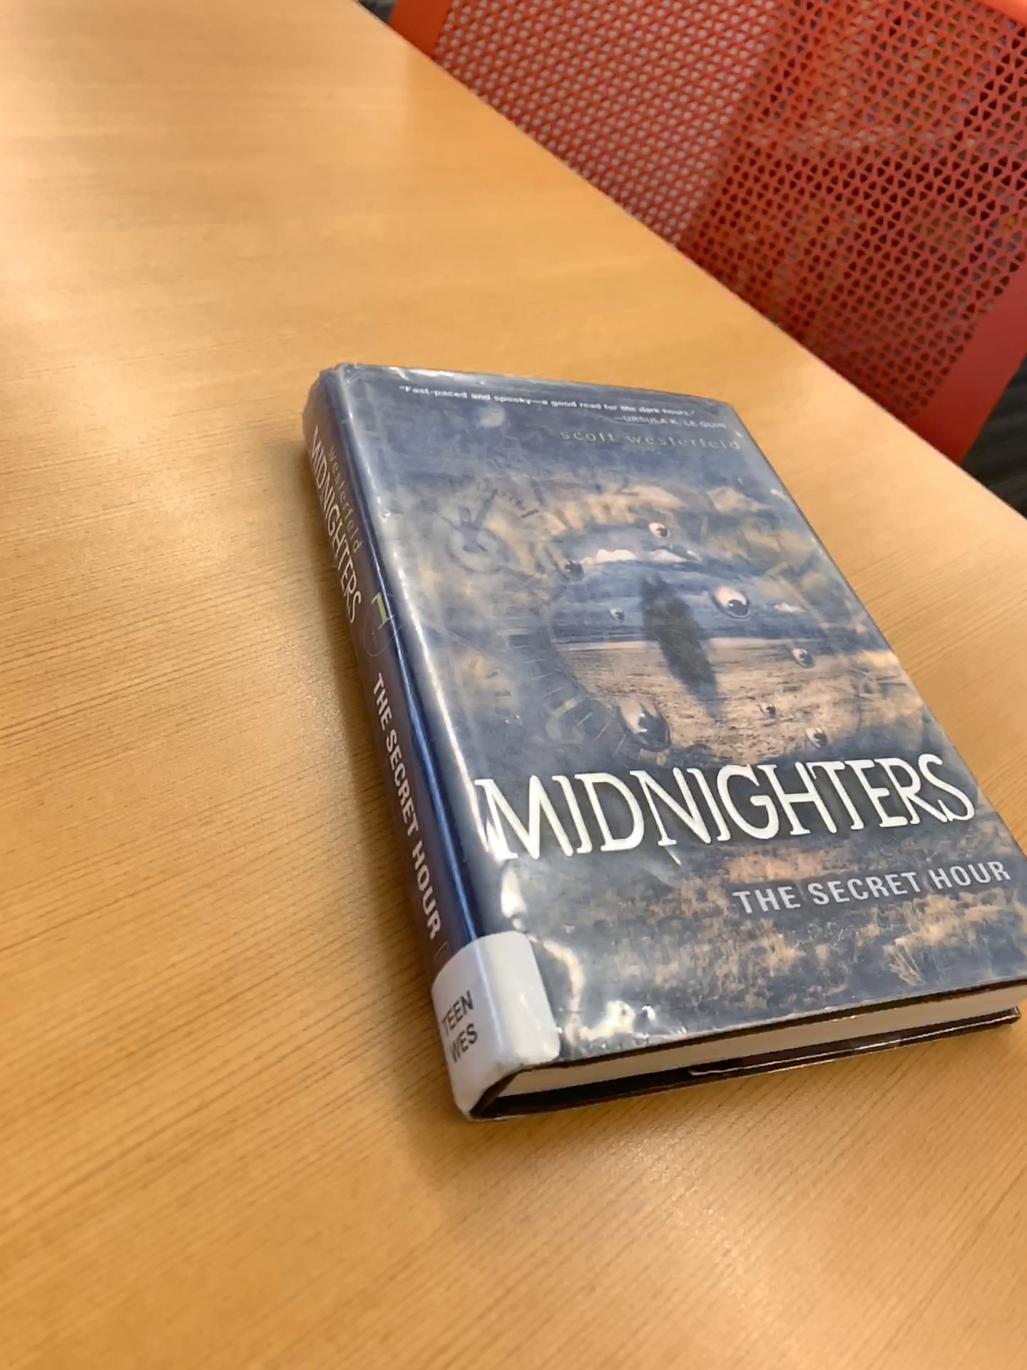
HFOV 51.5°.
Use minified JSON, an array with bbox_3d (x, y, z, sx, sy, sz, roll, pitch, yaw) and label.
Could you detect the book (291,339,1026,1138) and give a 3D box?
[{"bbox_3d":[0.033,-0.008,0.287,0.150,0.040,0.215,-1,49,-23],"label":"book"}]
